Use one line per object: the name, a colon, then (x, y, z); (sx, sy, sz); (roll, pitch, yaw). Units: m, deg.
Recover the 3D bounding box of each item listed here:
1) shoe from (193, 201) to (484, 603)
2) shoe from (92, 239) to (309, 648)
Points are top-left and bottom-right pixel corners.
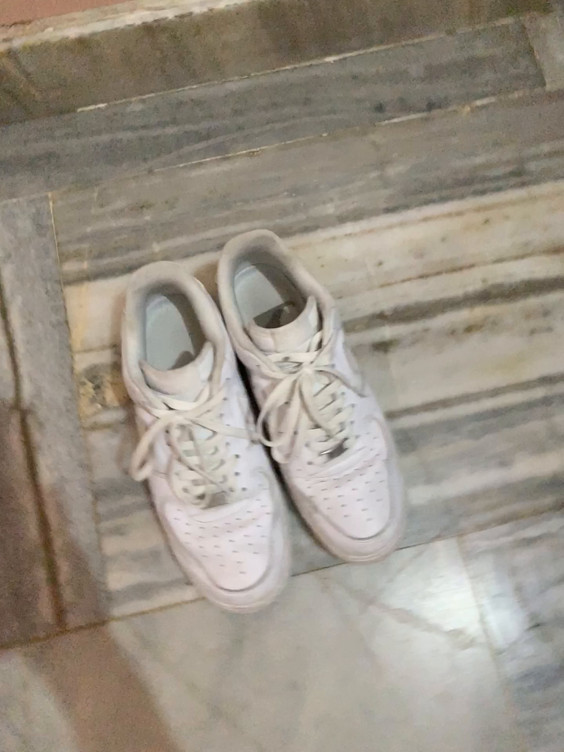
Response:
shoe: (0.037, 0.022, 0.519); (0.110, 0.120, 0.310); (-23, 77, -6)
shoe: (-0.071, 0.055, 0.519); (0.110, 0.120, 0.310); (-14, 76, -4)
